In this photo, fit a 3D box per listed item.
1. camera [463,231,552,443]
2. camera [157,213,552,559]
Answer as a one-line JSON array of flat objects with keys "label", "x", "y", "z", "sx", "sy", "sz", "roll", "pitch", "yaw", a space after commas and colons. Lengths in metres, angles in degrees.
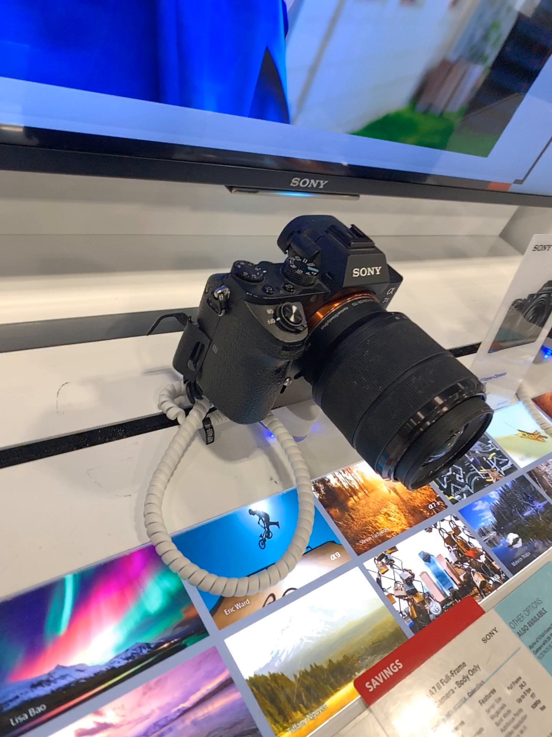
[{"label": "camera", "x": 0.316, "y": -0.042, "z": 0.569, "sx": 0.141, "sy": 0.099, "sz": 0.180, "roll": -12, "pitch": 51, "yaw": -39}, {"label": "camera", "x": 0.035, "y": -0.006, "z": 0.308, "sx": 0.129, "sy": 0.084, "sz": 0.150, "roll": -12, "pitch": 51, "yaw": -39}]
